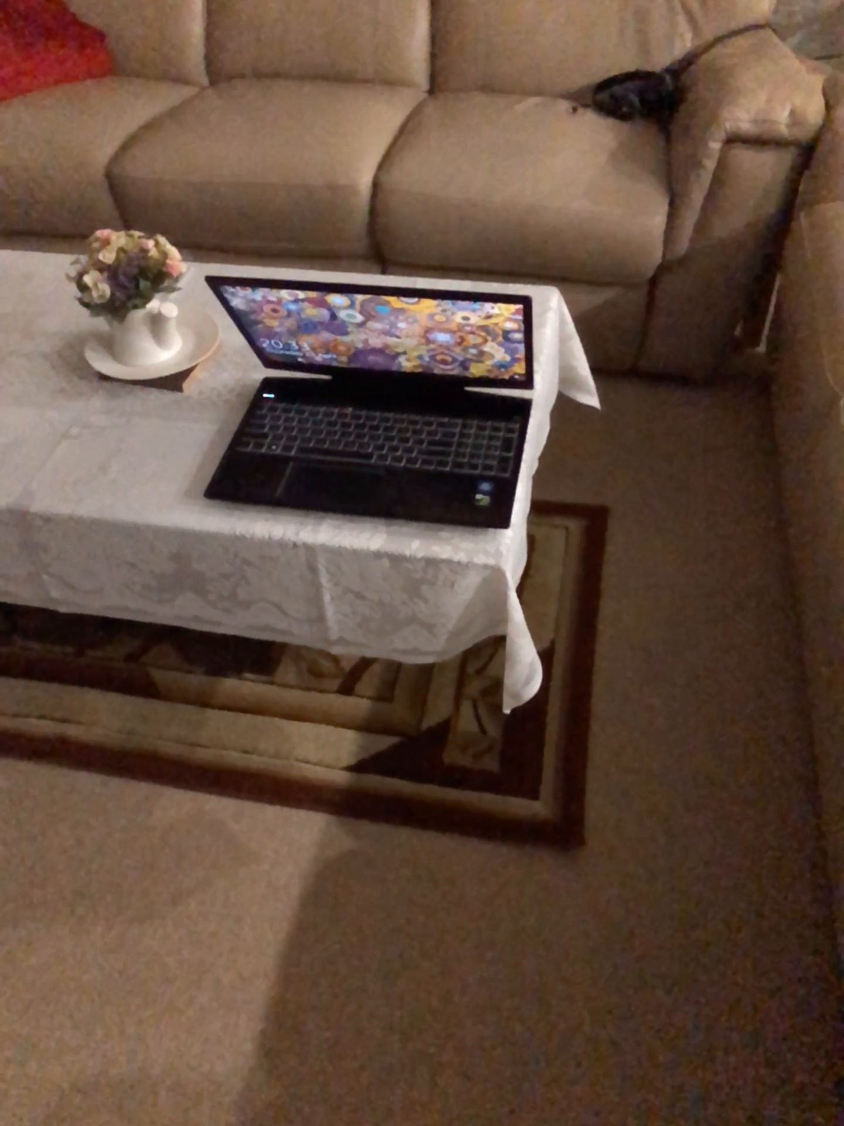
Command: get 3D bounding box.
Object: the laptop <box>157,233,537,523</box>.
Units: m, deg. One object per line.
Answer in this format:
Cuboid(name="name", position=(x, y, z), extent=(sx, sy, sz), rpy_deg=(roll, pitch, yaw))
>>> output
Cuboid(name="laptop", position=(-0.064, -0.217, 1.054), extent=(0.355, 0.199, 0.244), rpy_deg=(6, 46, 9))
